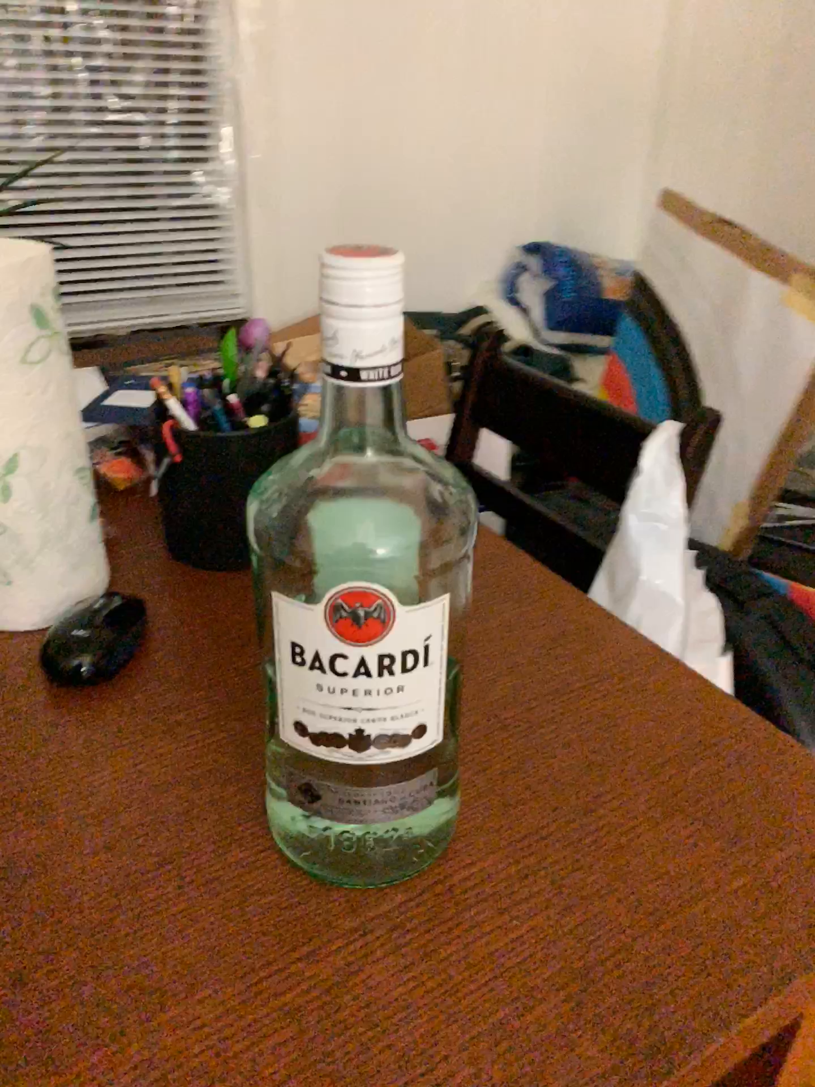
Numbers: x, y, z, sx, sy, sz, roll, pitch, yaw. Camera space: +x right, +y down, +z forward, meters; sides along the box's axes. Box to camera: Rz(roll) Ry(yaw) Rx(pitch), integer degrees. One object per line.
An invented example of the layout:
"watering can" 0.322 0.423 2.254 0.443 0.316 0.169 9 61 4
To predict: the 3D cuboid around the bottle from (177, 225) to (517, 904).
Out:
"bottle" -0.024 0.022 0.426 0.120 0.328 0.121 1 29 0
